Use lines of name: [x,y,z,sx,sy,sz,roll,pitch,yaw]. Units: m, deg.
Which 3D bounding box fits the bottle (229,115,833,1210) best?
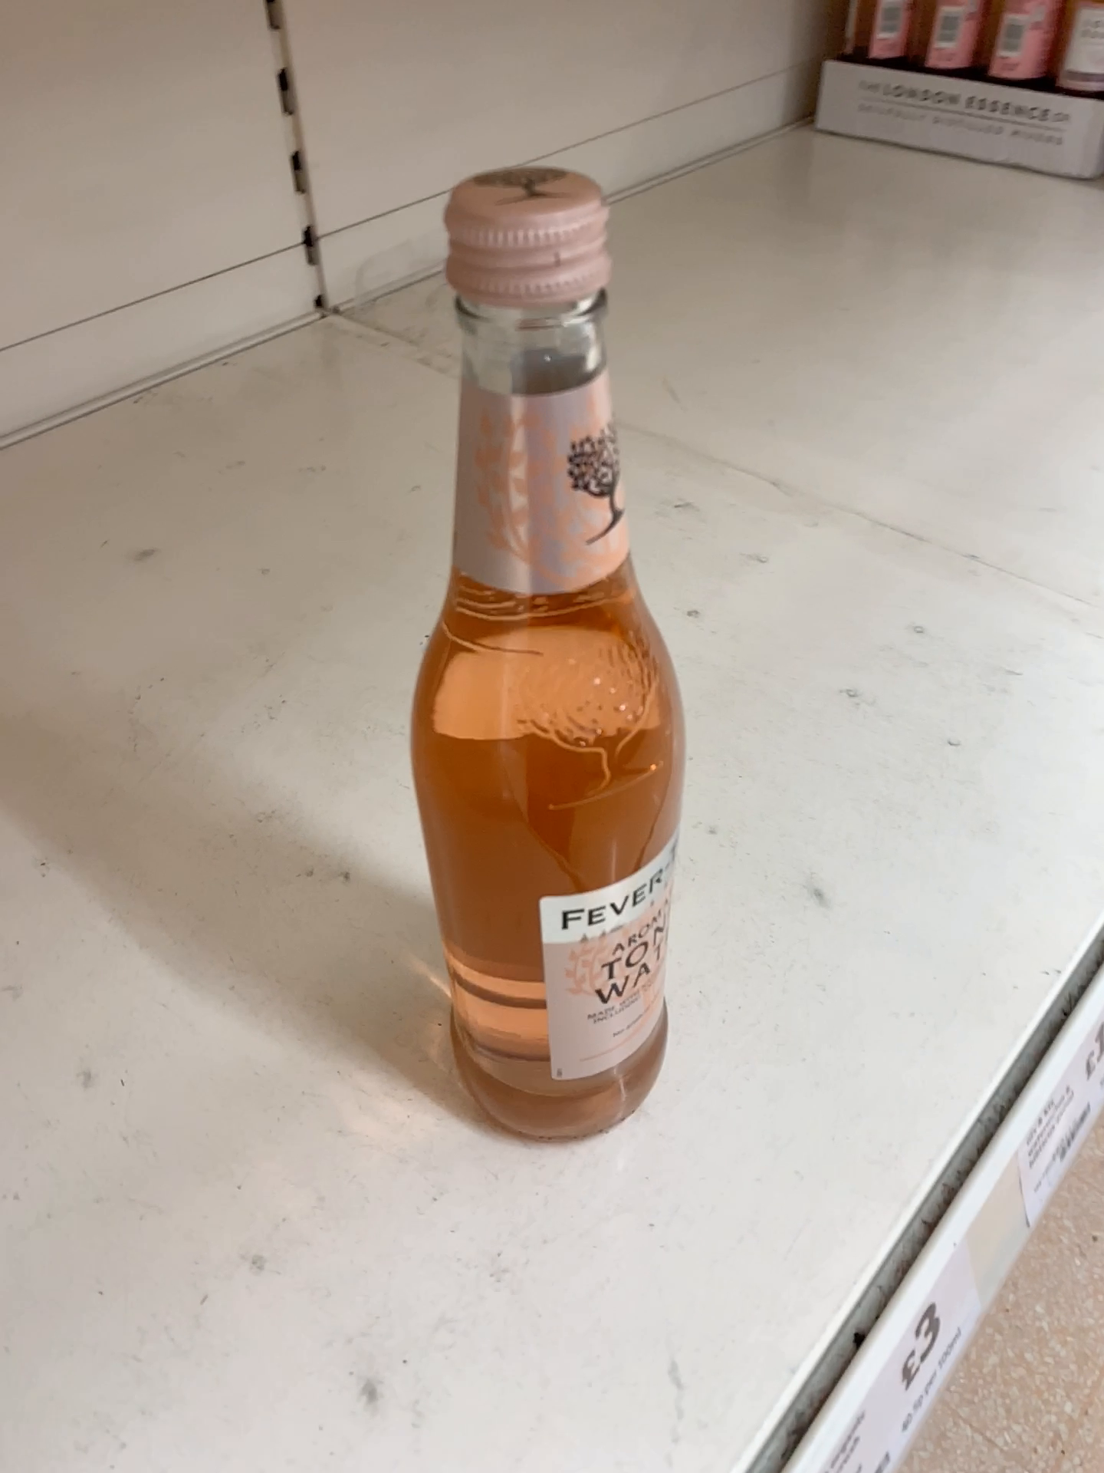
bottle: [0.002,0.005,0.272,0.067,0.253,0.078,25,48,27]
